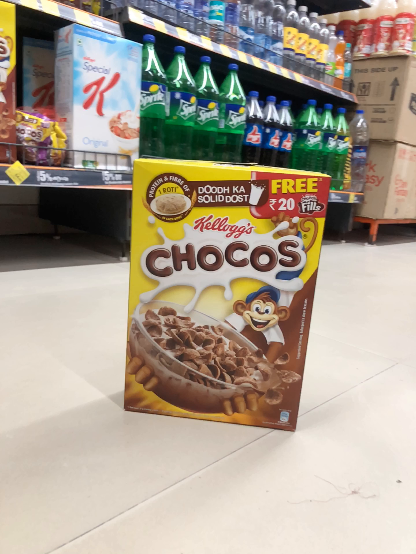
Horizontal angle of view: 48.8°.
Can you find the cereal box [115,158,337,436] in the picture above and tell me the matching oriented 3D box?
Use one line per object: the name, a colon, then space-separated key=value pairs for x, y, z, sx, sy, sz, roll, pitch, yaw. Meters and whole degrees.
cereal box: x=0.011 y=0.019 z=0.475 sx=0.190 sy=0.259 sz=0.070 roll=6 pitch=15 yaw=4
